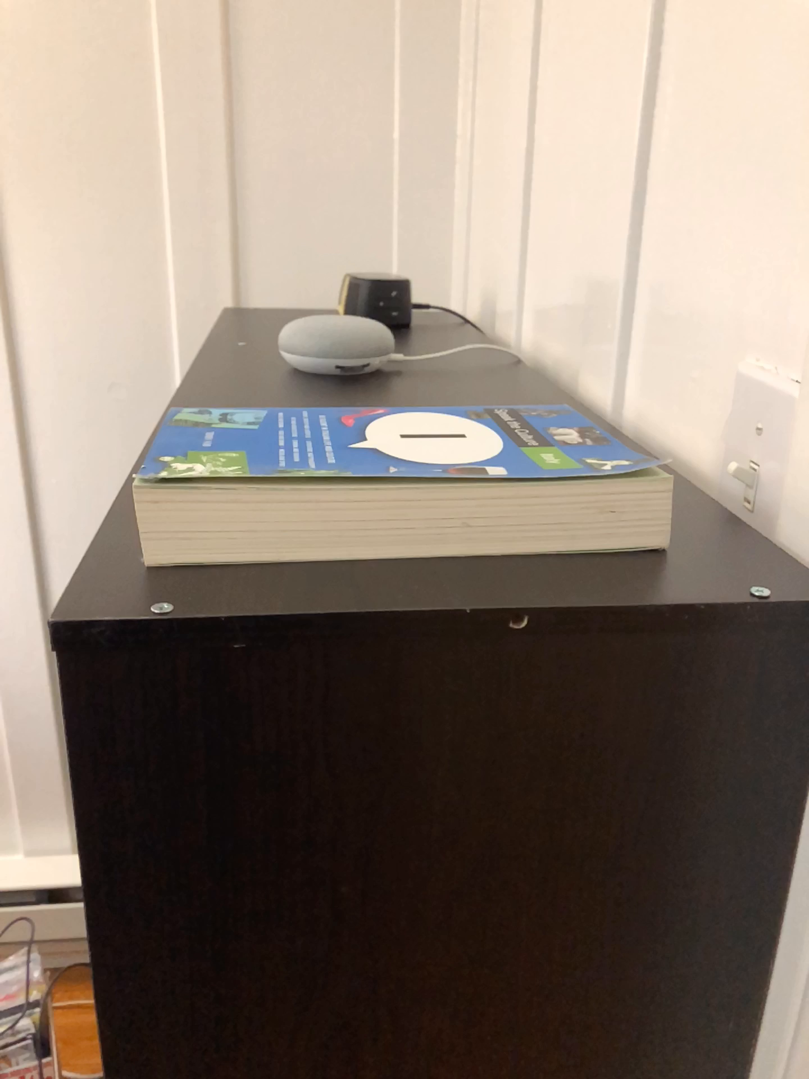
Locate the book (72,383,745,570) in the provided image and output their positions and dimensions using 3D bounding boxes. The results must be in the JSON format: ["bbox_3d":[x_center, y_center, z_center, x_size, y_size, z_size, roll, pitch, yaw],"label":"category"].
[{"bbox_3d":[-0.006,-0.042,0.439,0.260,0.030,0.201,-2,21,-8],"label":"book"}]
